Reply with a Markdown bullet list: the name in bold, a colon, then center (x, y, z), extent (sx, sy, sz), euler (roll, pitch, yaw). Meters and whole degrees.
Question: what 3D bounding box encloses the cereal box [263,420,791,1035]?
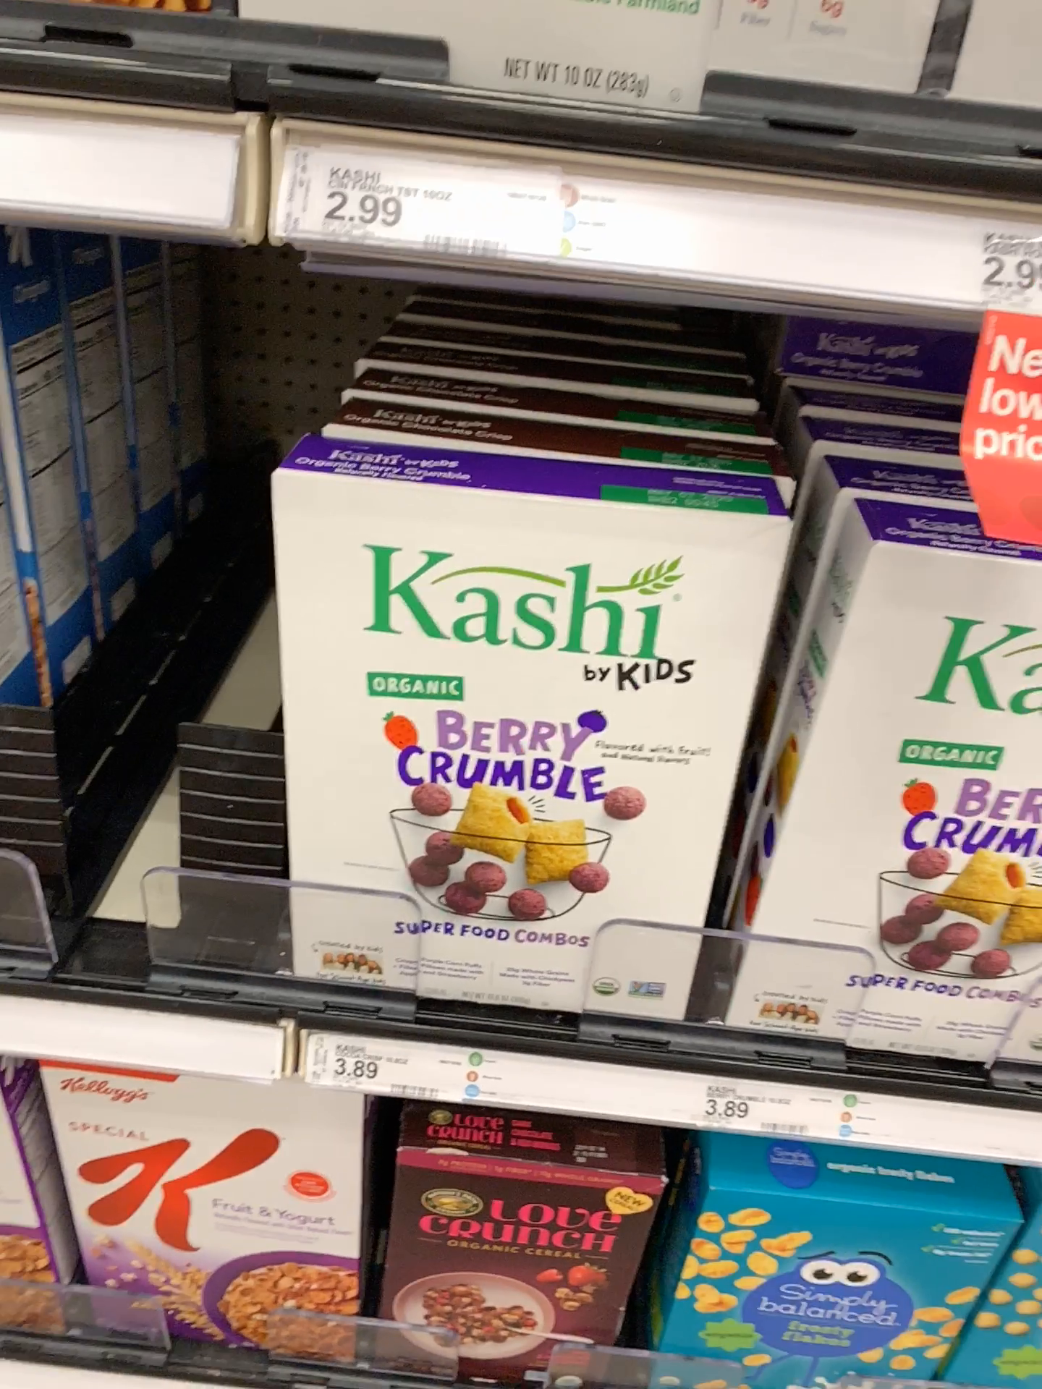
- **cereal box**: center (-0.009, 0.031, 0.480), extent (0.190, 0.279, 0.050), euler (6, 33, -1)
